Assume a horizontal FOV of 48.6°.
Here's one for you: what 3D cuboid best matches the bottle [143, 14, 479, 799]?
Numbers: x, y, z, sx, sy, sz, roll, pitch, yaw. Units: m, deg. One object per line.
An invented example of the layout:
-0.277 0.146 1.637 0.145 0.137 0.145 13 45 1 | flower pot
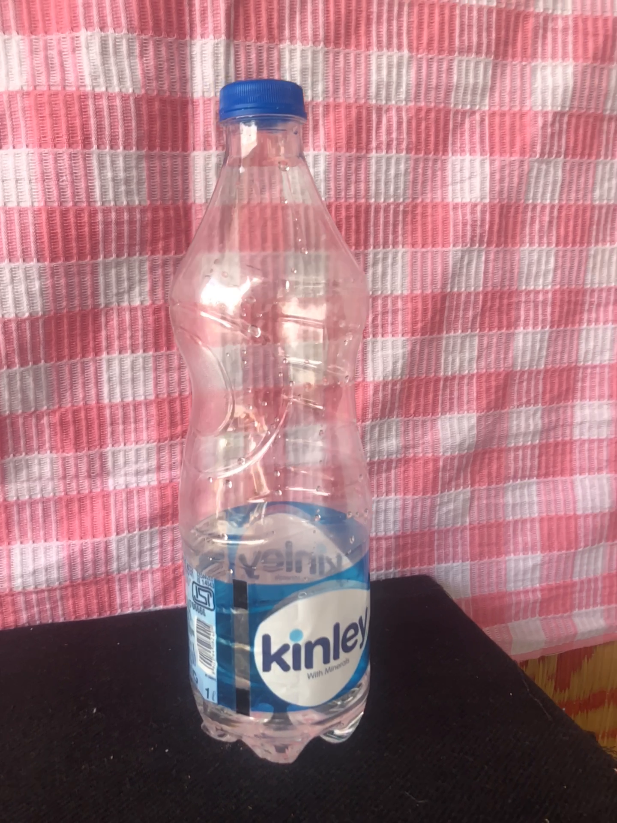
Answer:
-0.007 0.002 0.275 0.090 0.259 0.080 -8 18 -34 | bottle
